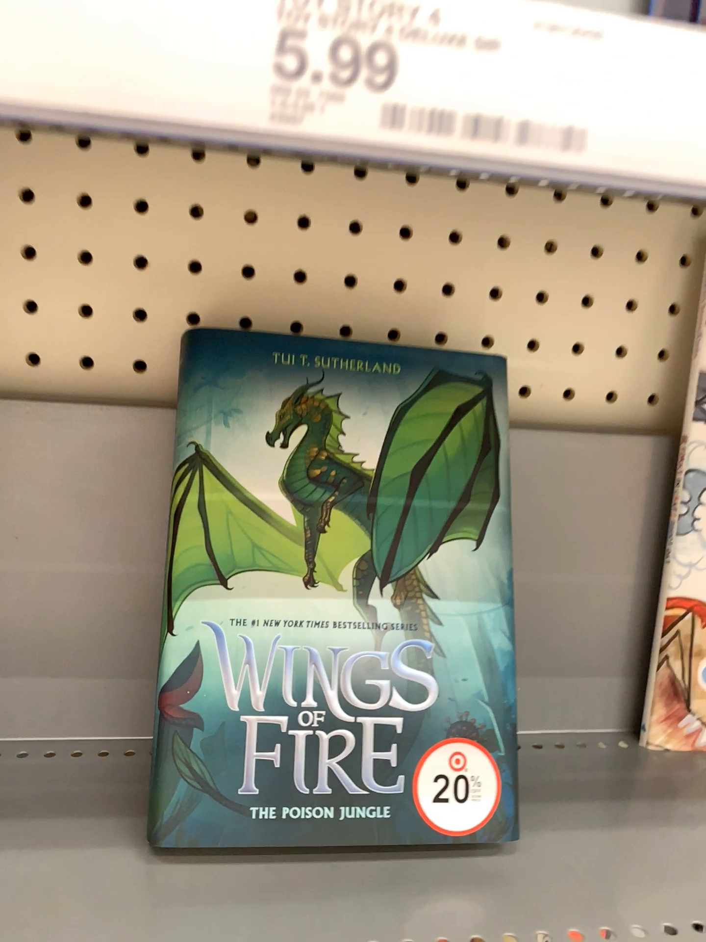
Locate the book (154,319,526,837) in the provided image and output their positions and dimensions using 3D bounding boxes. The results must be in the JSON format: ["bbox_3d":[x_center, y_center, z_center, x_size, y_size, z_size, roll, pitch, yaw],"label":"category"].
[{"bbox_3d":[-0.003,0.044,0.333,0.150,0.215,0.036,3,-13,-8],"label":"book"}]
